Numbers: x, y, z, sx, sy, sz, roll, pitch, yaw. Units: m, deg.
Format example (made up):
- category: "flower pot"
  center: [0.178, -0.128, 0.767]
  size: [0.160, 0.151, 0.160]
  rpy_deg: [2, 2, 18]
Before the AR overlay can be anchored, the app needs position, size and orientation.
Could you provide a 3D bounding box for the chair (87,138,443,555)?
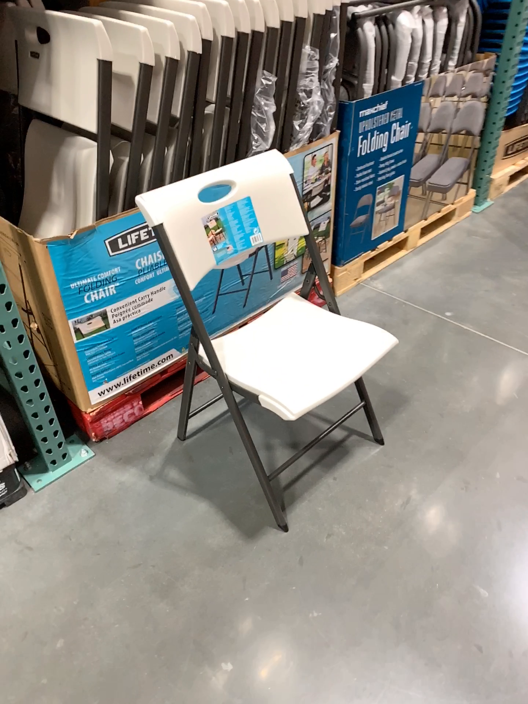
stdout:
- category: "chair"
  center: [0.007, -0.044, 1.462]
  size: [0.576, 0.805, 0.566]
  rpy_deg: [30, 48, 34]
